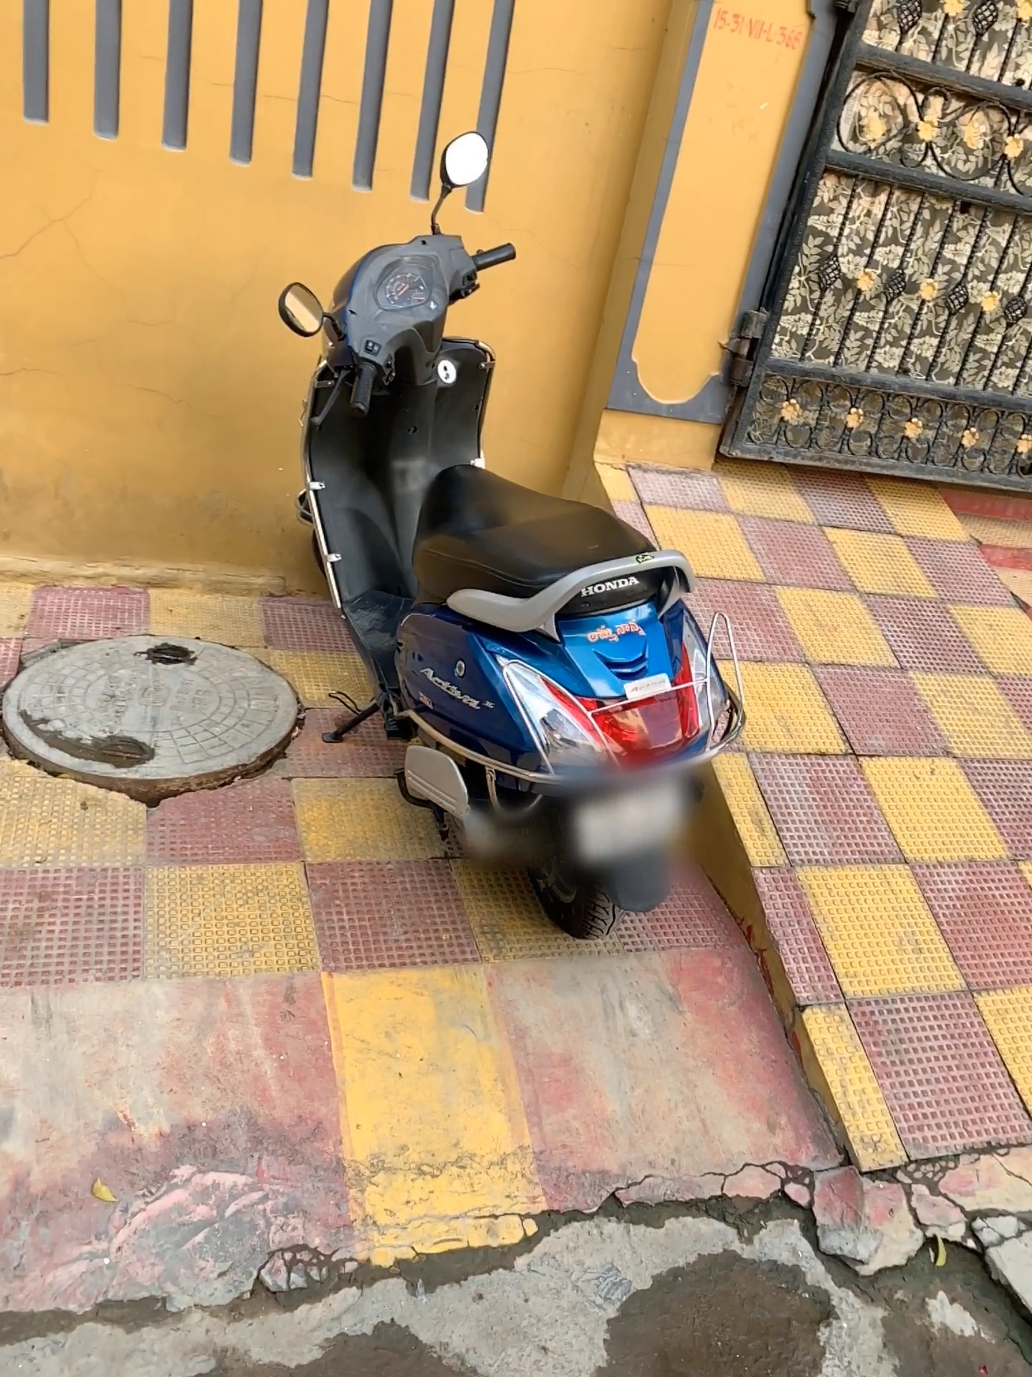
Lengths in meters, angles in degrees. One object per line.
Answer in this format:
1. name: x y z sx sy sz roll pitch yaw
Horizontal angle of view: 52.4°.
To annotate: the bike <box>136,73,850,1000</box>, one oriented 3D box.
1. bike: -0.256 -0.420 2.130 0.597 1.098 1.532 -4 34 -31
